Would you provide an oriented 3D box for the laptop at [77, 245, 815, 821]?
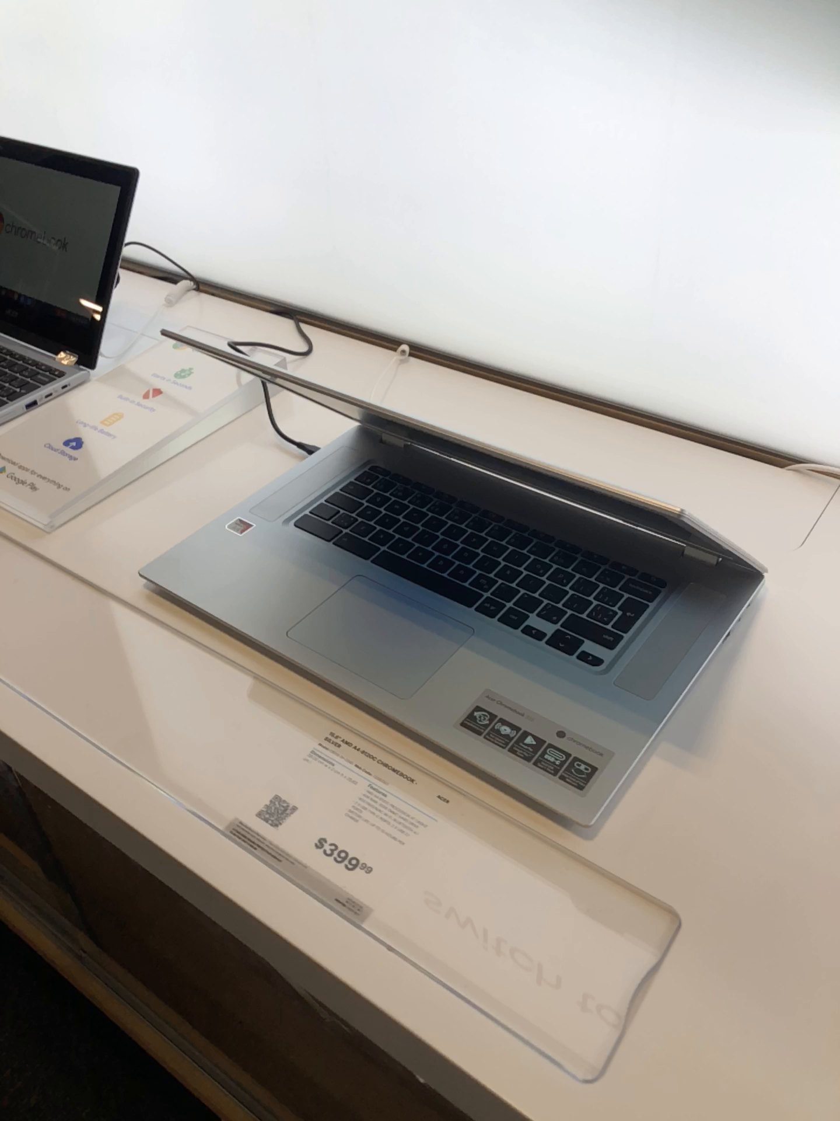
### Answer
[{"bbox_3d":[0.013,-0.055,0.609,0.369,0.166,0.255,24,45,30],"label":"laptop"}]
